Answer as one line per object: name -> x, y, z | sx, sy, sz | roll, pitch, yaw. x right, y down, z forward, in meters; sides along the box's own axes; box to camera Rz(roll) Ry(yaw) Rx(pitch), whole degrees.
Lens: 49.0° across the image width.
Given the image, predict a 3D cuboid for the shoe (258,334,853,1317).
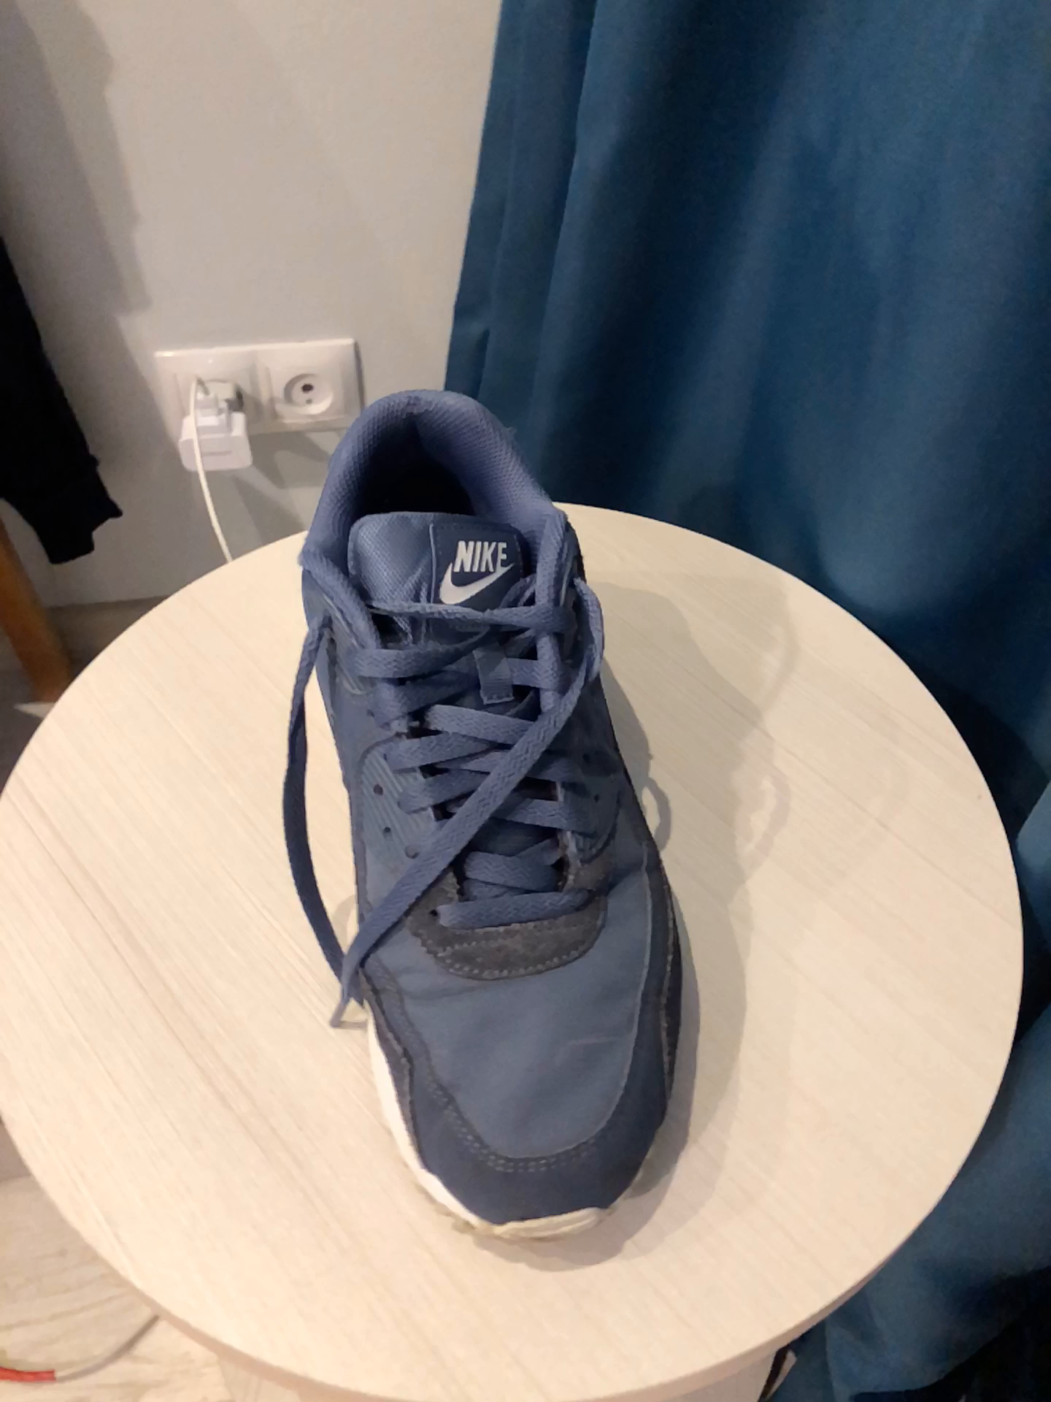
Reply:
shoe -> -0.015, 0.014, 0.360 | 0.110, 0.109, 0.282 | -7, 49, -8
